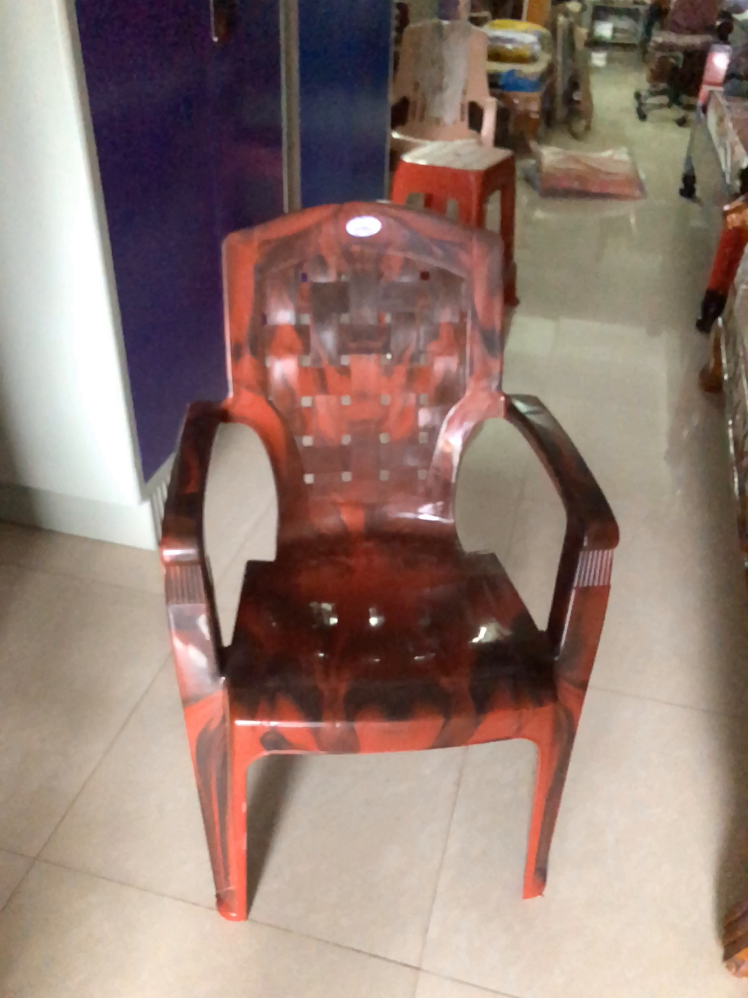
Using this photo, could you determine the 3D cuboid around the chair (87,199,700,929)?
[{"bbox_3d":[-0.005,0.093,1.187,0.530,0.865,0.563,-1,35,-4],"label":"chair"}]
